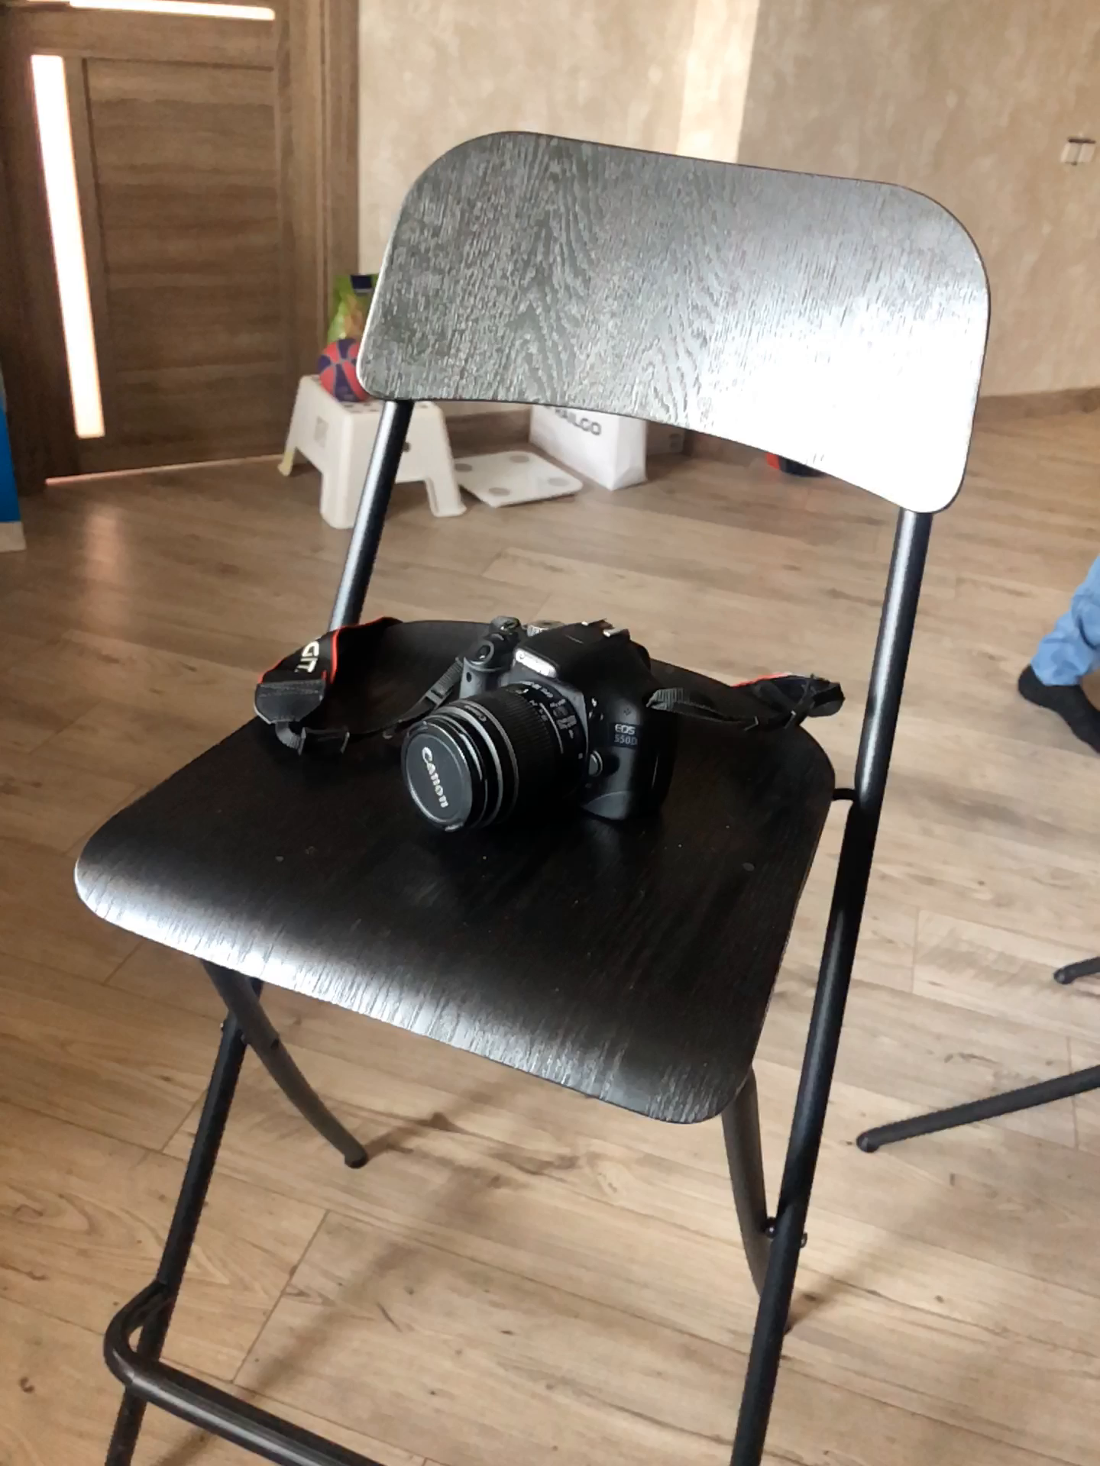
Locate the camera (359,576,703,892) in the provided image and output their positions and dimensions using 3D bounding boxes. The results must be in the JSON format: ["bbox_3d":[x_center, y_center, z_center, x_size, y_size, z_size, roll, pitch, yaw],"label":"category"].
[{"bbox_3d":[-0.013,-0.007,0.671,0.141,0.092,0.120,-24,42,-39],"label":"camera"}]
